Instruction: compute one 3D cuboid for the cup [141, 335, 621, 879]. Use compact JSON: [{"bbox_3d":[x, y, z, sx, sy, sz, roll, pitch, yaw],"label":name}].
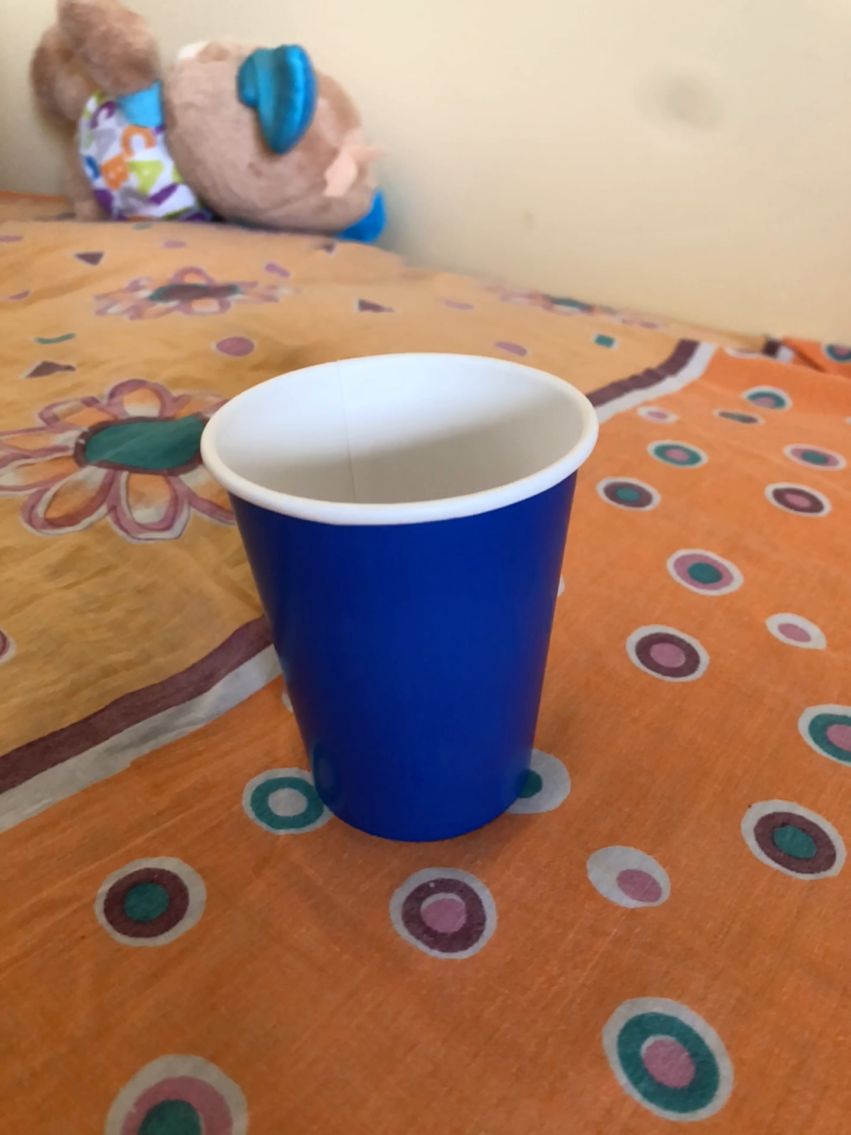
[{"bbox_3d":[-0.001,0.006,0.214,0.080,0.090,0.080,-4,31,2],"label":"cup"}]
